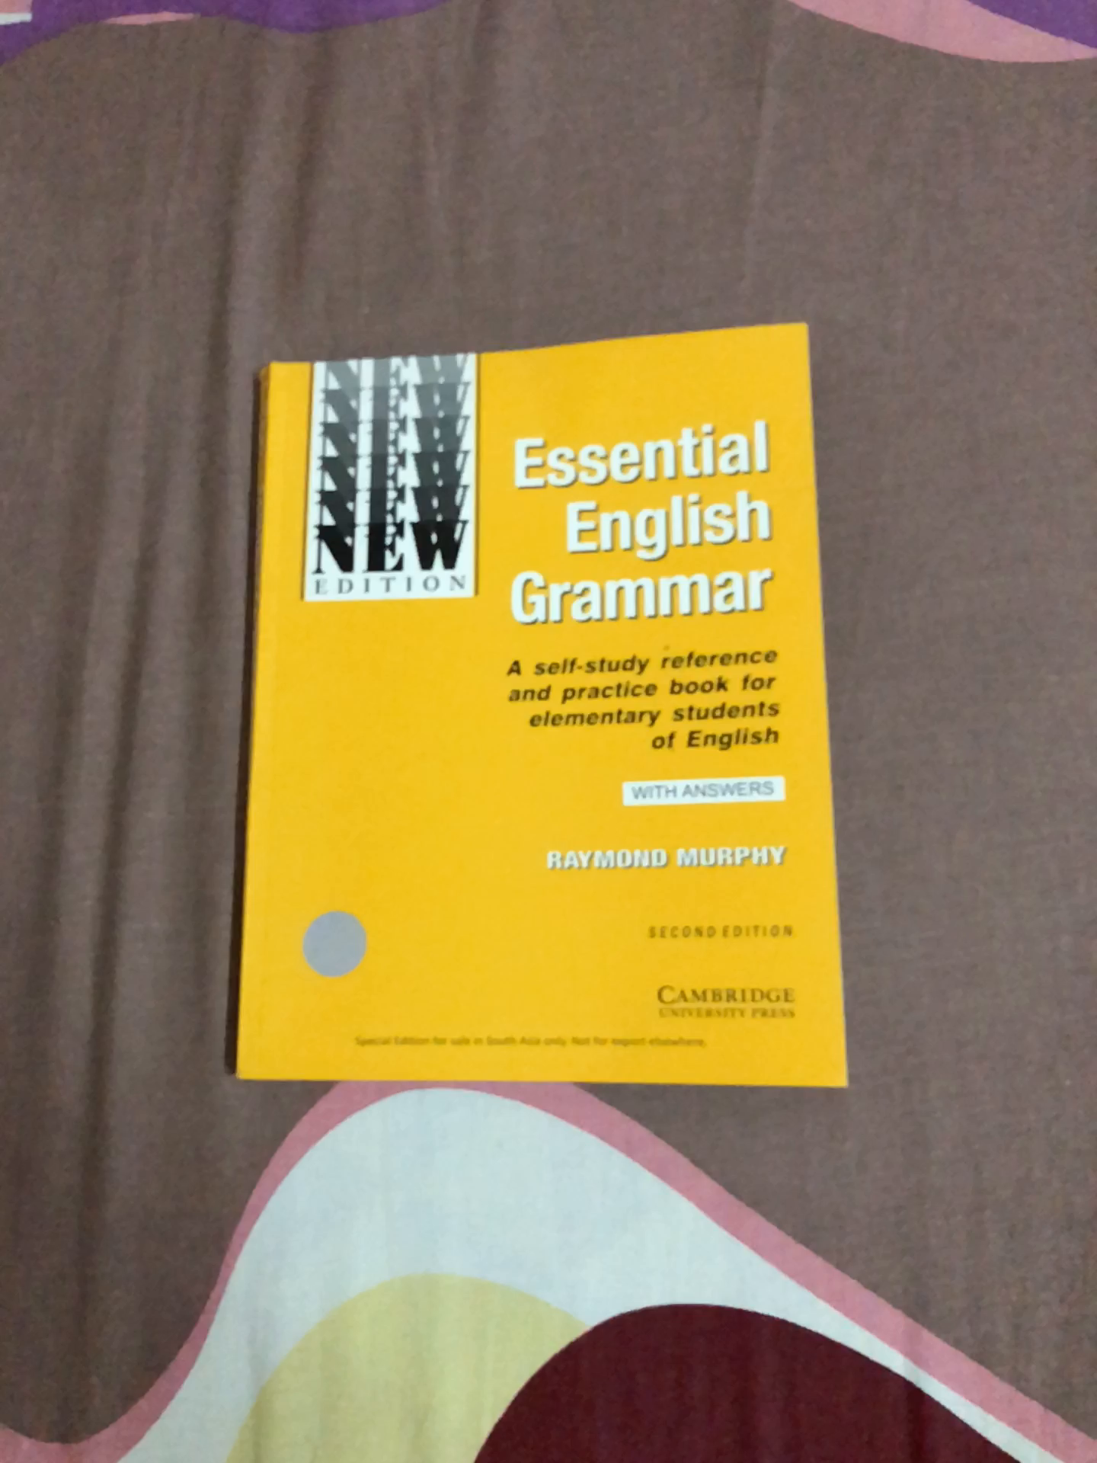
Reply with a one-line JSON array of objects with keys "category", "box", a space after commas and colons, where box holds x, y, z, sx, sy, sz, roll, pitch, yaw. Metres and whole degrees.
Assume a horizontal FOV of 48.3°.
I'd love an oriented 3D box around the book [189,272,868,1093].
[{"category": "book", "box": [-0.005, -0.018, 0.388, 0.190, 0.040, 0.250, -1, 76, 6]}]
